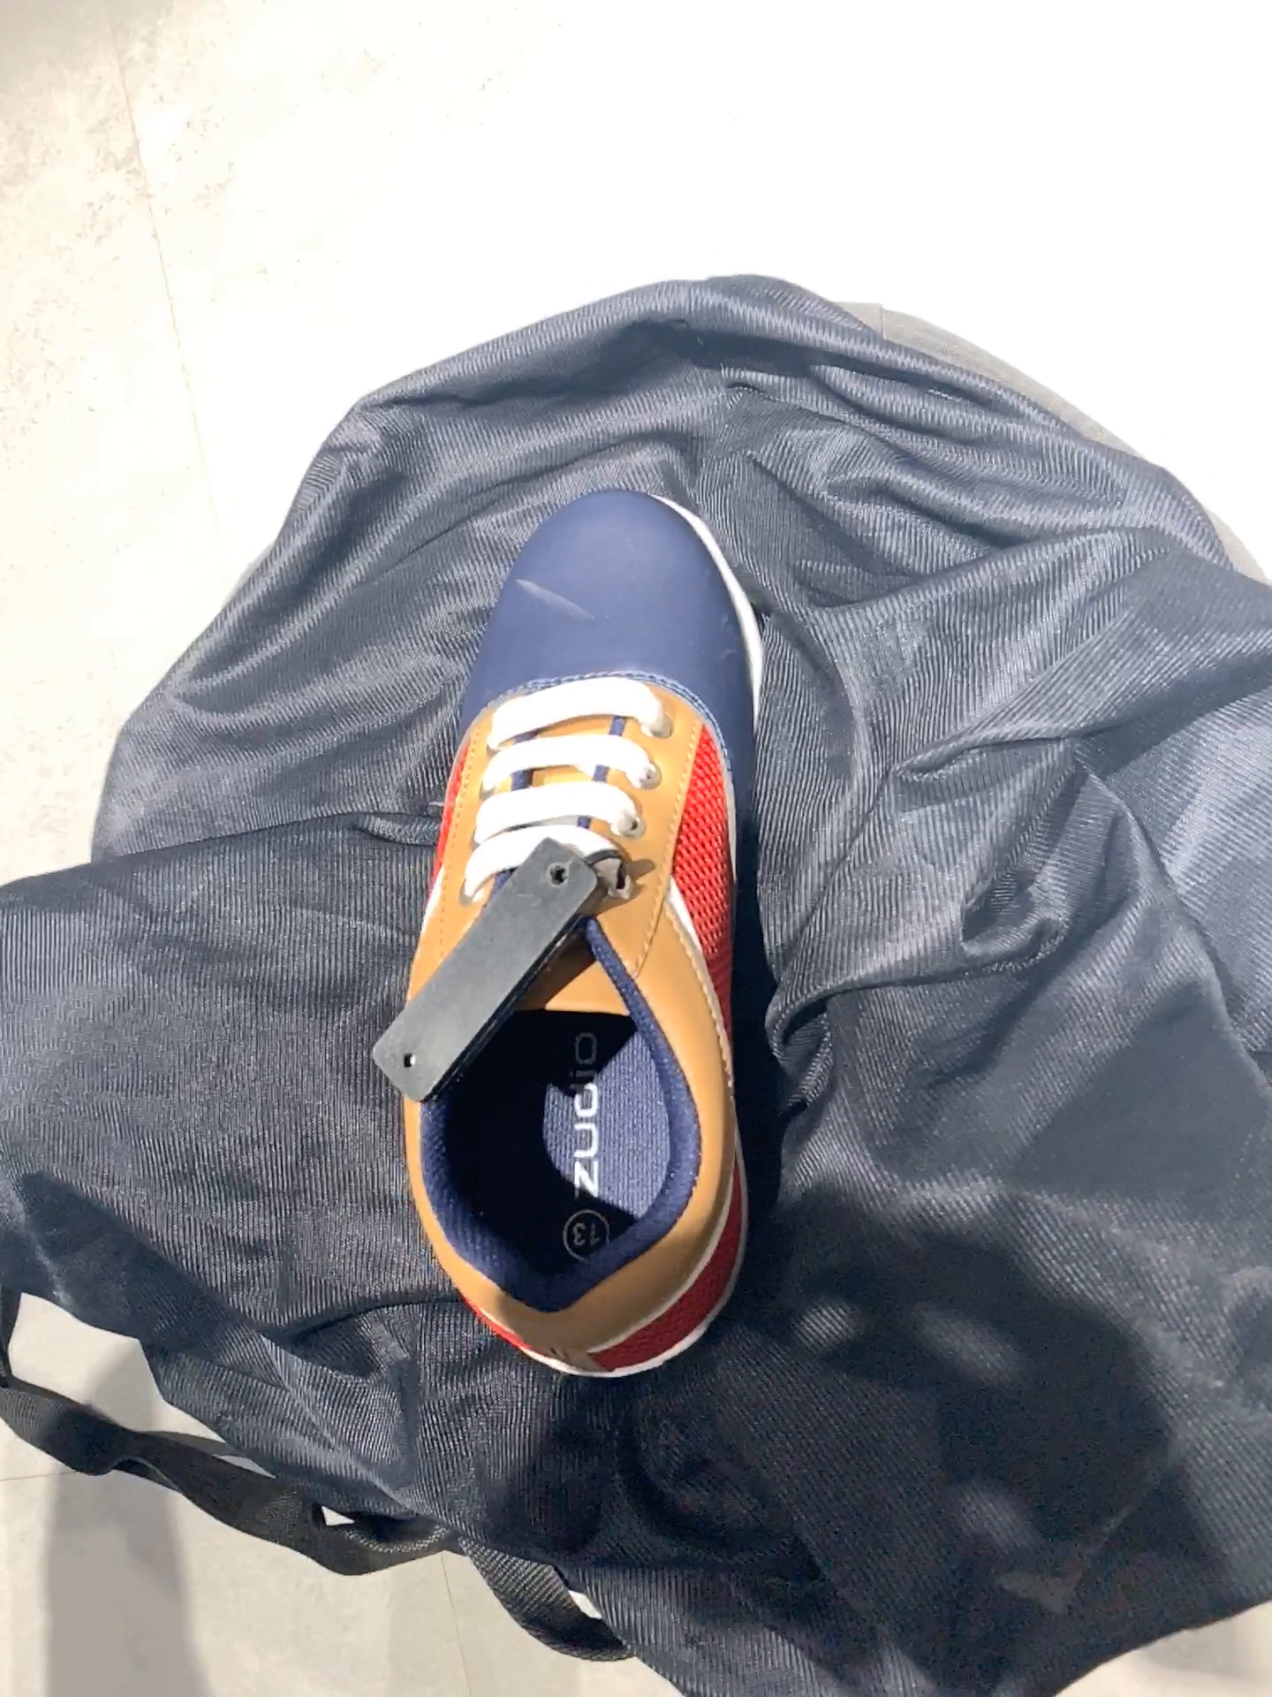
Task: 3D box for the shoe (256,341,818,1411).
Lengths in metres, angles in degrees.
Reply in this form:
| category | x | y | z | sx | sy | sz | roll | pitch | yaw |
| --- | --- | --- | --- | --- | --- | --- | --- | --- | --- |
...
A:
| category | x | y | z | sx | sy | sz | roll | pitch | yaw |
| --- | --- | --- | --- | --- | --- | --- | --- | --- | --- |
| shoe | -0.018 | 0.008 | 0.268 | 0.080 | 0.070 | 0.190 | -9 | 71 | 21 |
